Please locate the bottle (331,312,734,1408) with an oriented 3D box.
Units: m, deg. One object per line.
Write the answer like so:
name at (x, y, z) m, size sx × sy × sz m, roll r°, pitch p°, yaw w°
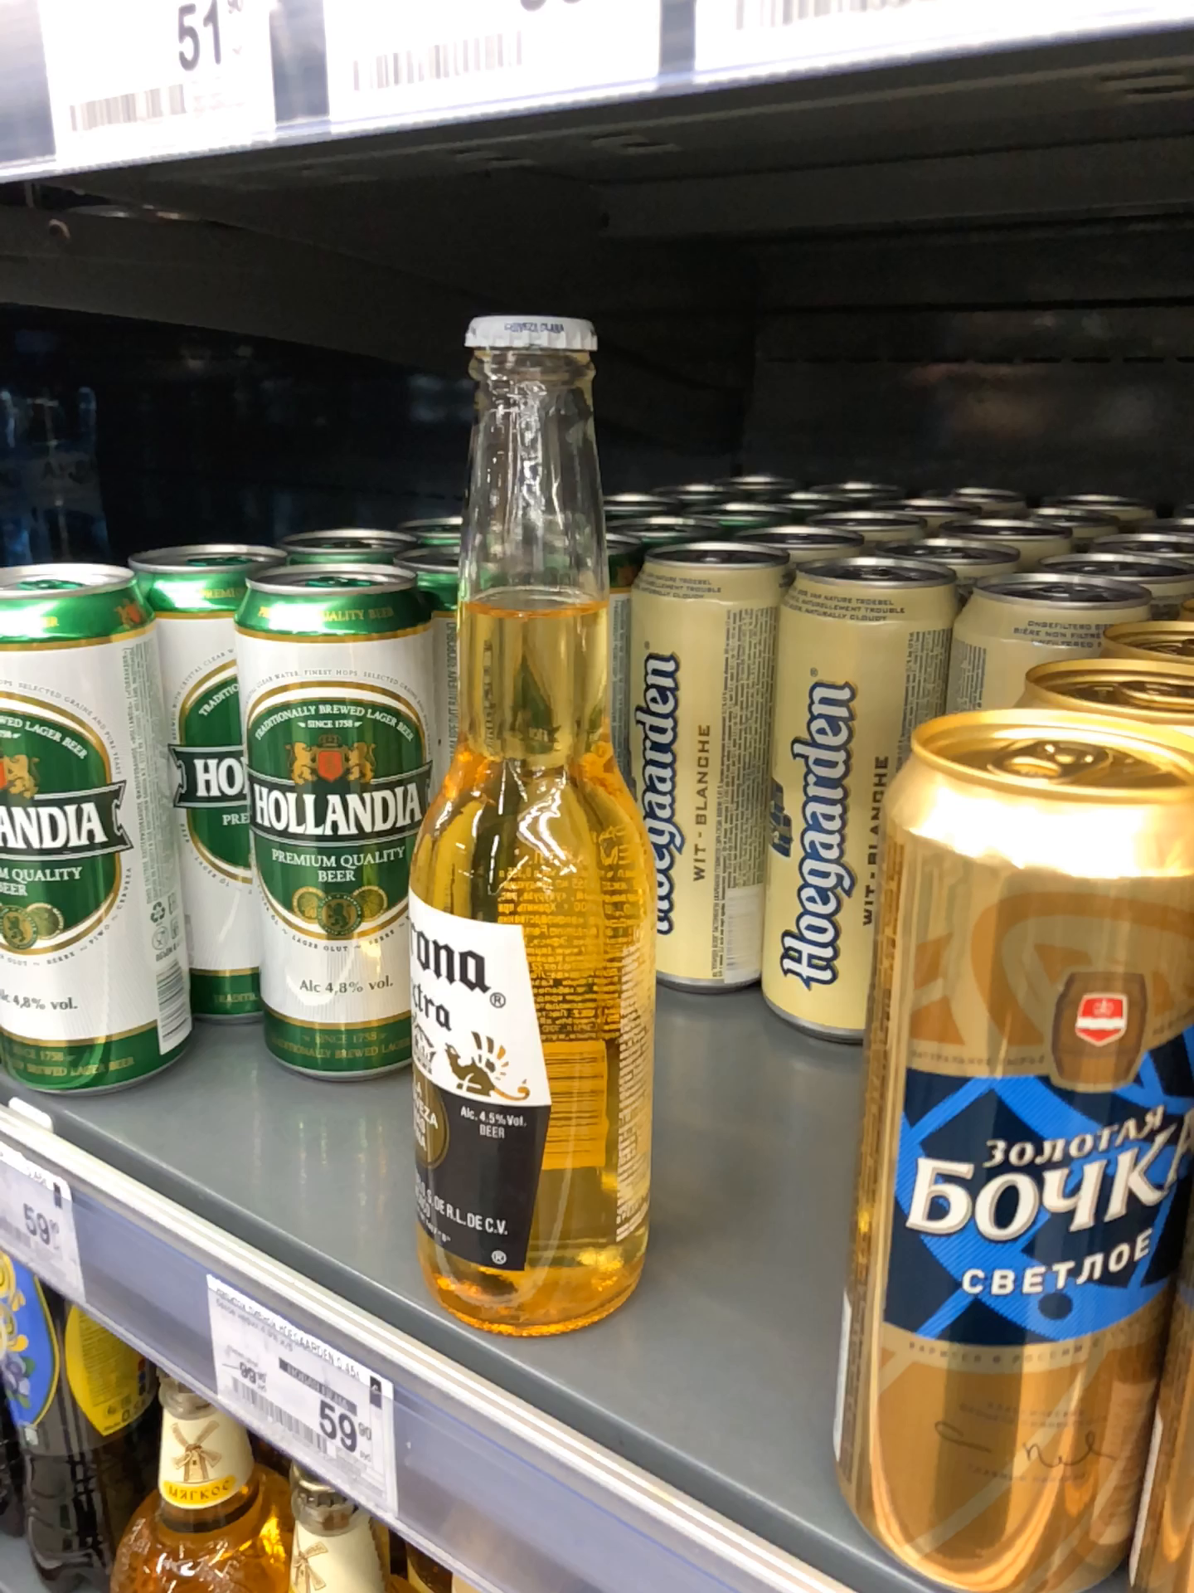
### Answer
bottle at (-0.016, 0.014, 0.311) m, size 0.060 × 0.237 × 0.070 m, roll -9°, pitch 20°, yaw -26°
